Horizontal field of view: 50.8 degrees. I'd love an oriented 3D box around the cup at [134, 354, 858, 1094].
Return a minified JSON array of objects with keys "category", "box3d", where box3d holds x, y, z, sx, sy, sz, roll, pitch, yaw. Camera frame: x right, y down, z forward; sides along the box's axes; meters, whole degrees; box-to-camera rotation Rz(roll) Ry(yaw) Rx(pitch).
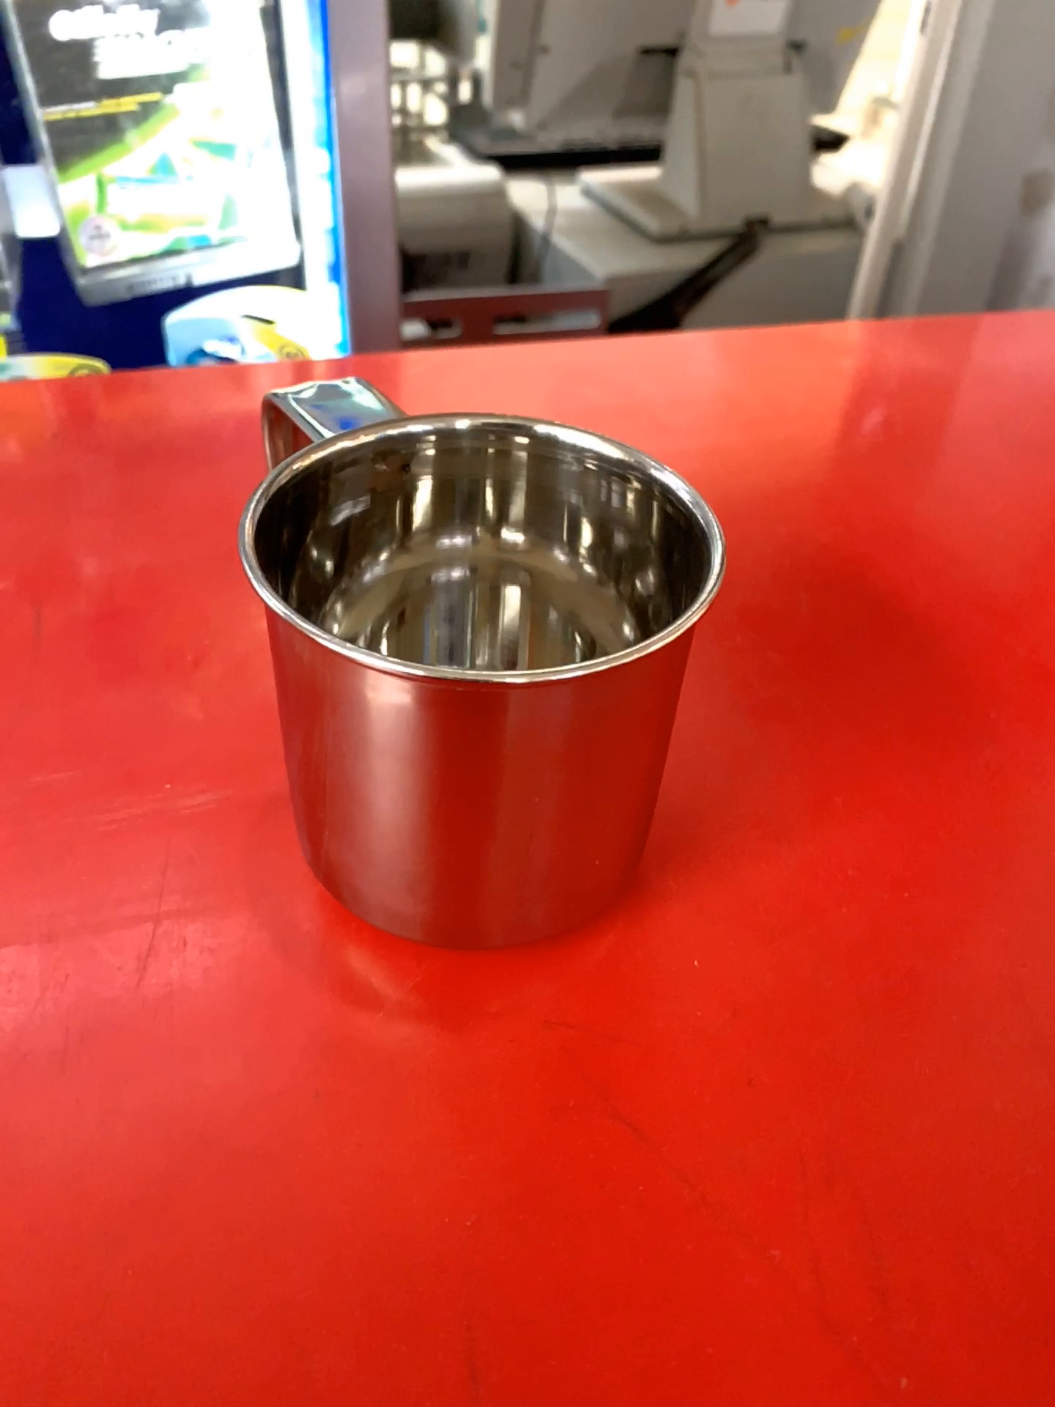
[{"category":"cup","box3d":[-0.013,-0.006,0.213,0.080,0.069,0.111,-20,45,-25]}]
